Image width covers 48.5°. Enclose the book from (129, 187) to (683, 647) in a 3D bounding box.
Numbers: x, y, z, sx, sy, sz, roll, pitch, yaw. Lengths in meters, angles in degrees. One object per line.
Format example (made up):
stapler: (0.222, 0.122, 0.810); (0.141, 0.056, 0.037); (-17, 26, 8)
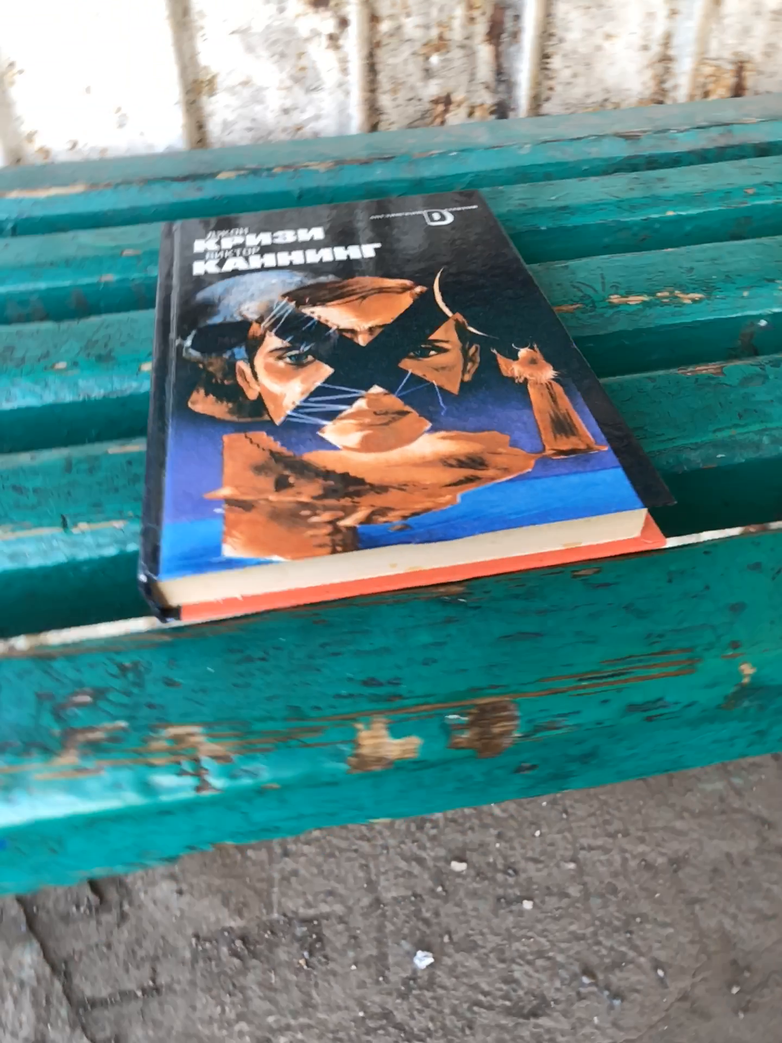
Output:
book: (-0.012, -0.056, 0.292); (0.134, 0.020, 0.212); (-8, 43, -6)
